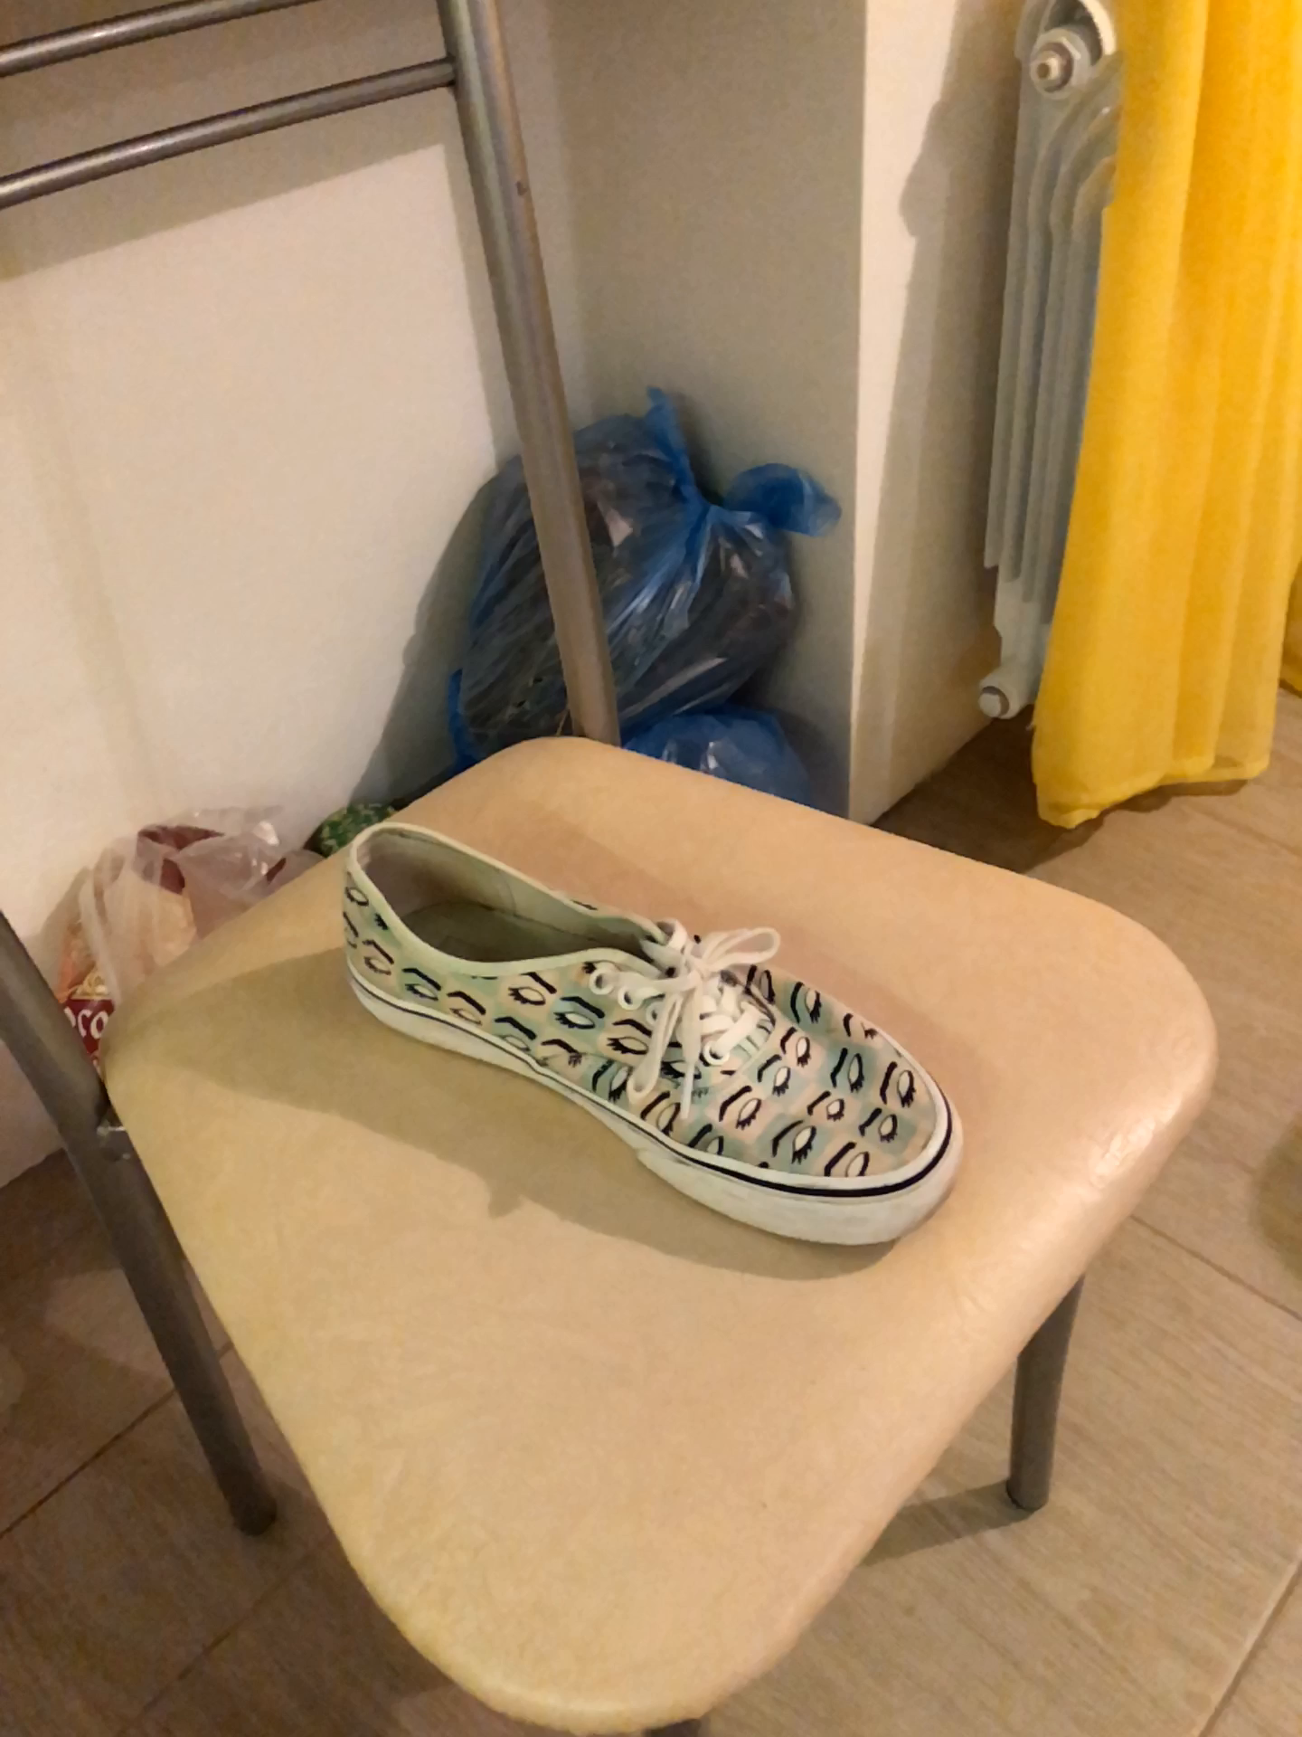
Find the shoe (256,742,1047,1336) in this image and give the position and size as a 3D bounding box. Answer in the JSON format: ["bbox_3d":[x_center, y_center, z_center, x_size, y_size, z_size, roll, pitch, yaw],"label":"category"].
[{"bbox_3d":[-0.005,0.048,0.522,0.260,0.068,0.111,22,47,27],"label":"shoe"}]
